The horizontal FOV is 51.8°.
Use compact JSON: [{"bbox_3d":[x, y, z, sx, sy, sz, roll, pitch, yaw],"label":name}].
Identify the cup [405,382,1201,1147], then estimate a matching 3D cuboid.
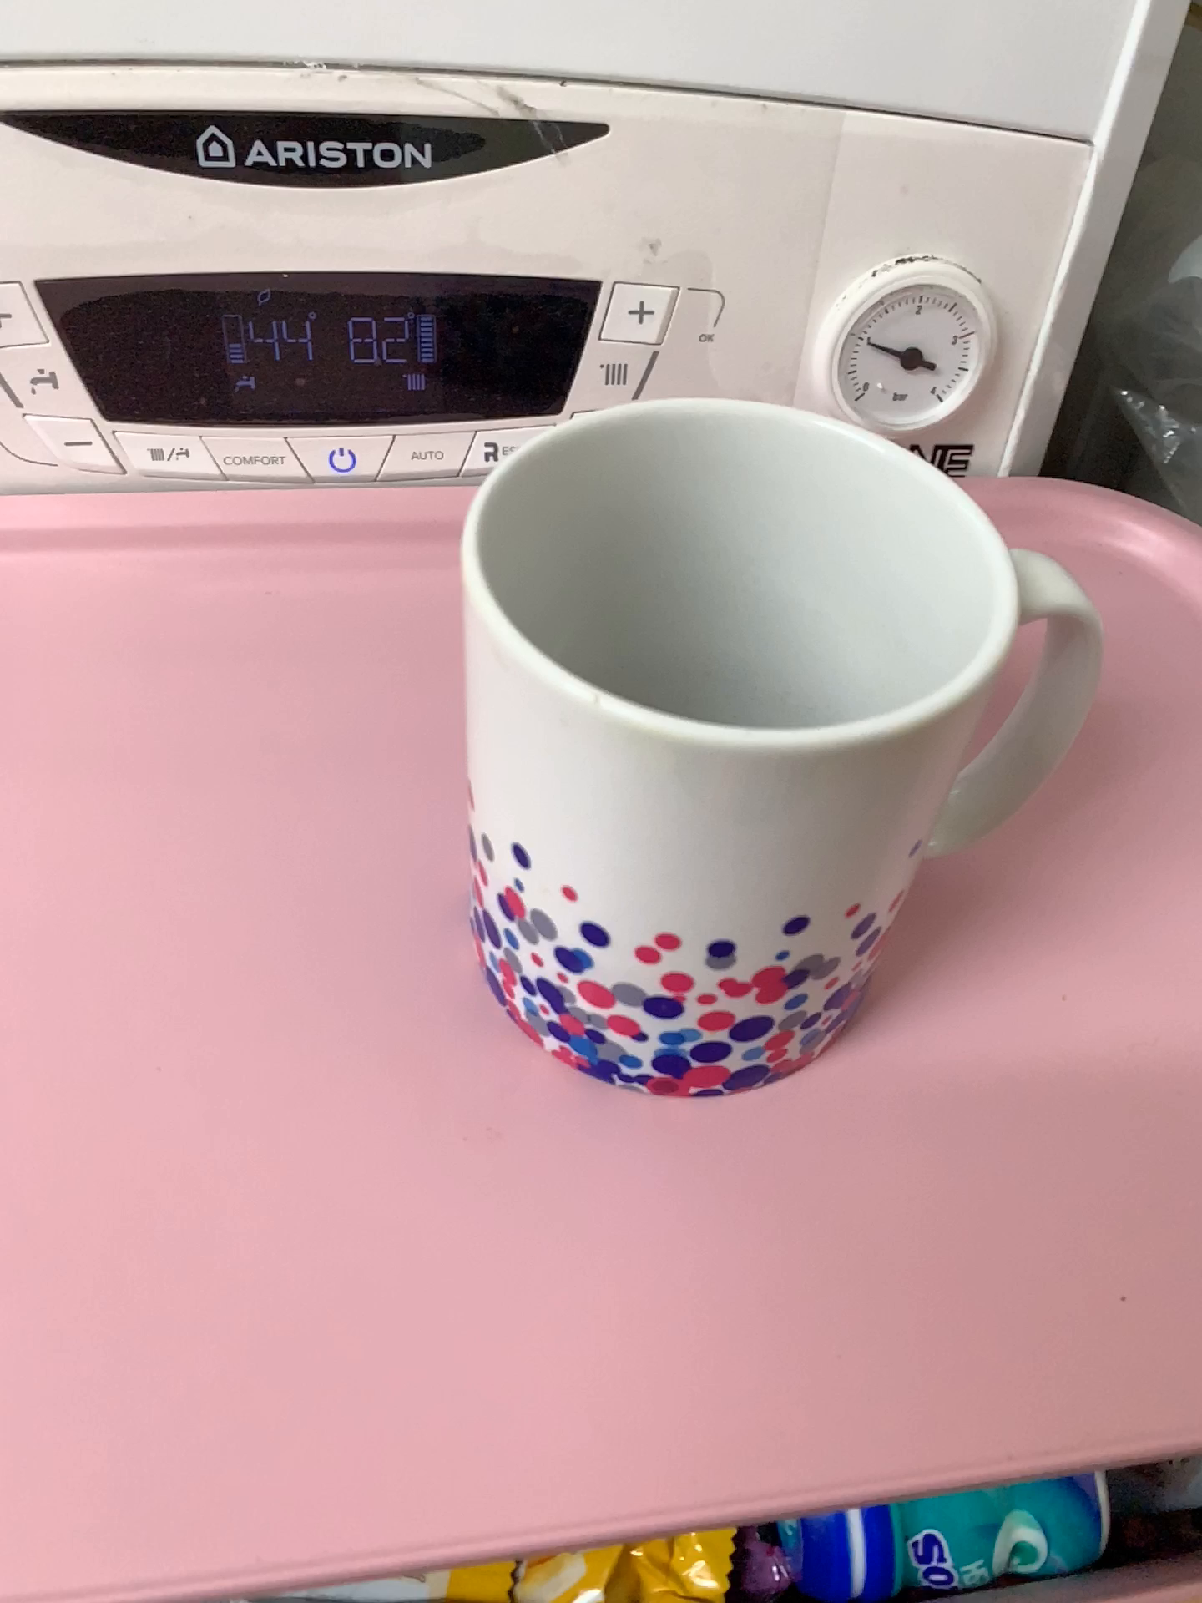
[{"bbox_3d":[0.033,-0.009,0.211,0.120,0.089,0.081,-5,44,-11],"label":"cup"}]
